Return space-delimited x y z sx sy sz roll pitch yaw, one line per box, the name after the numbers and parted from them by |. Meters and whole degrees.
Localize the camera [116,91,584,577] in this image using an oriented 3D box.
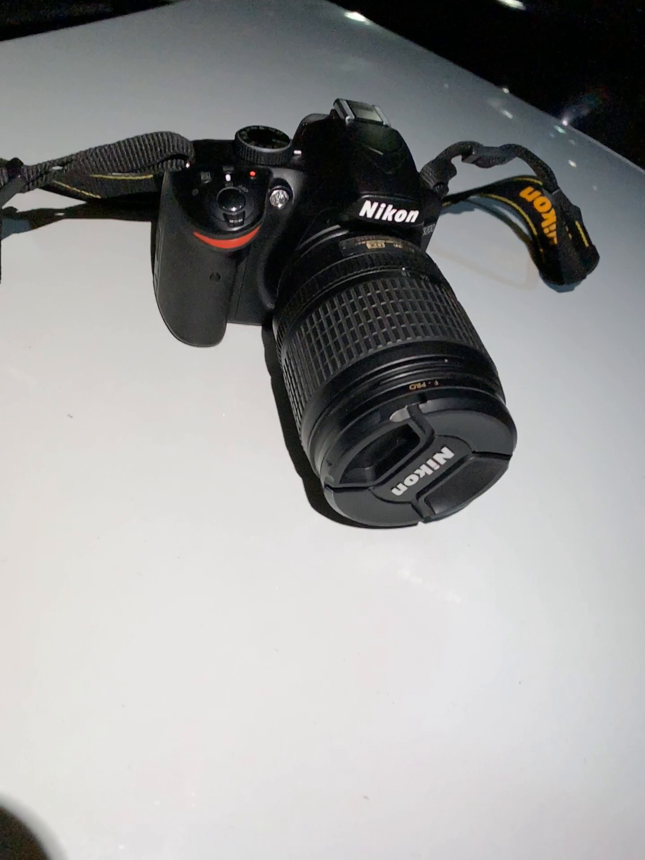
-0.010 -0.057 0.281 0.126 0.099 0.202 -3 42 -11 | camera
